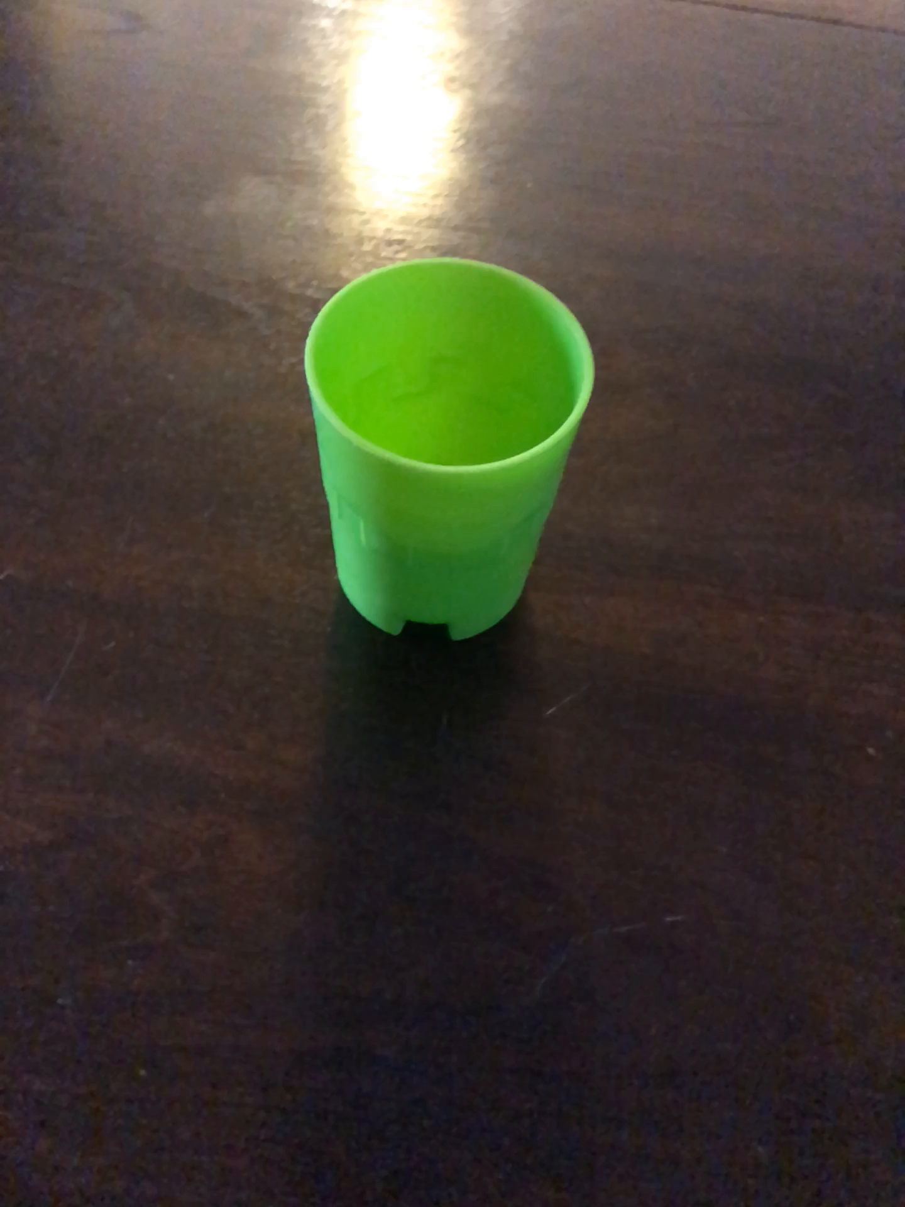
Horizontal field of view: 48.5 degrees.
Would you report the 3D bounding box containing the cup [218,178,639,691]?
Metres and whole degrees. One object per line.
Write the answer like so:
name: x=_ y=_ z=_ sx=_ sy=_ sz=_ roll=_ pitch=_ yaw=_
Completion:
cup: x=-0.006 y=-0.040 z=0.258 sx=0.070 sy=0.090 sz=0.070 roll=2 pitch=58 yaw=-3
